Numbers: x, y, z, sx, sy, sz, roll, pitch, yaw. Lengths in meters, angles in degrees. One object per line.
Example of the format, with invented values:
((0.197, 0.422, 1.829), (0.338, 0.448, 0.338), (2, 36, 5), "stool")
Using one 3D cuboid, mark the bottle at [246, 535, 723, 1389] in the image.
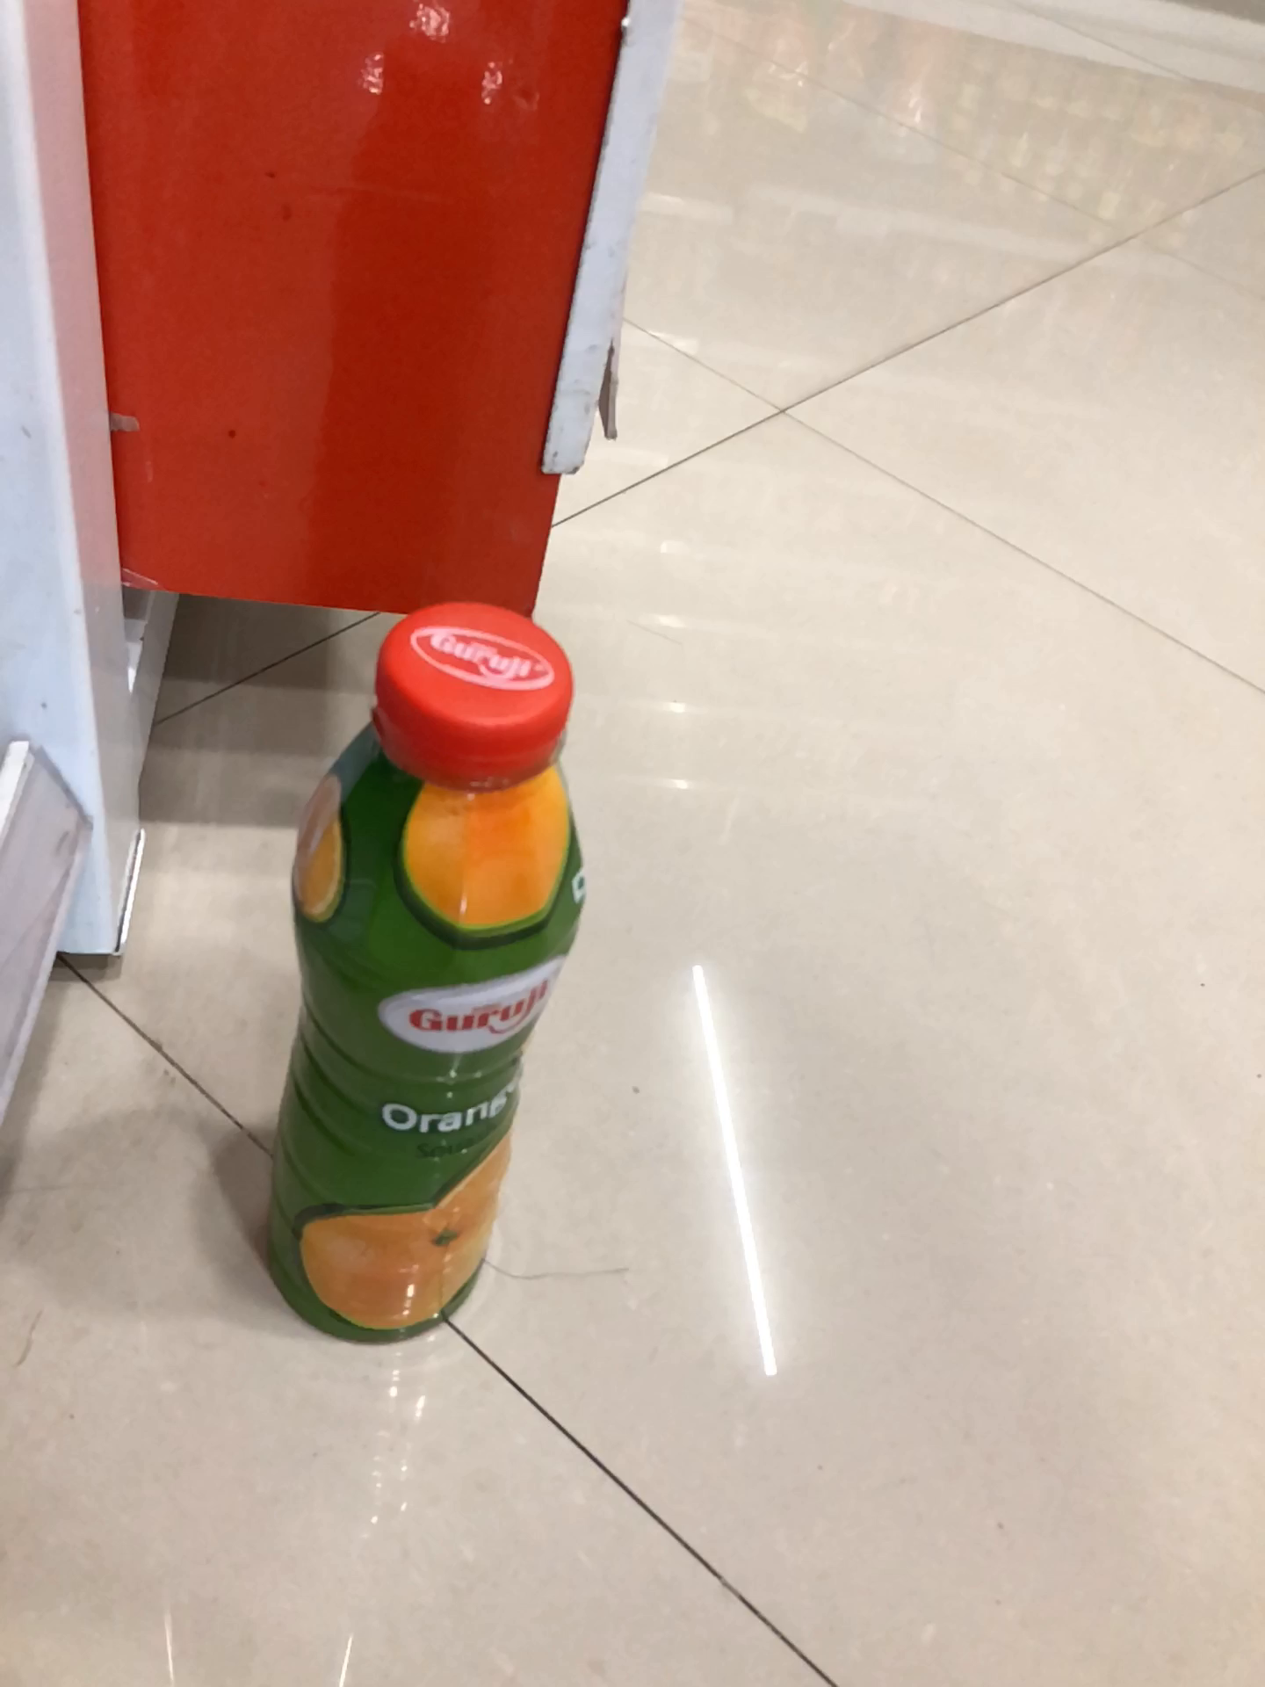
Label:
((-0.053, 0.046, 0.356), (0.070, 0.238, 0.070), (8, 46, -8), "bottle")
